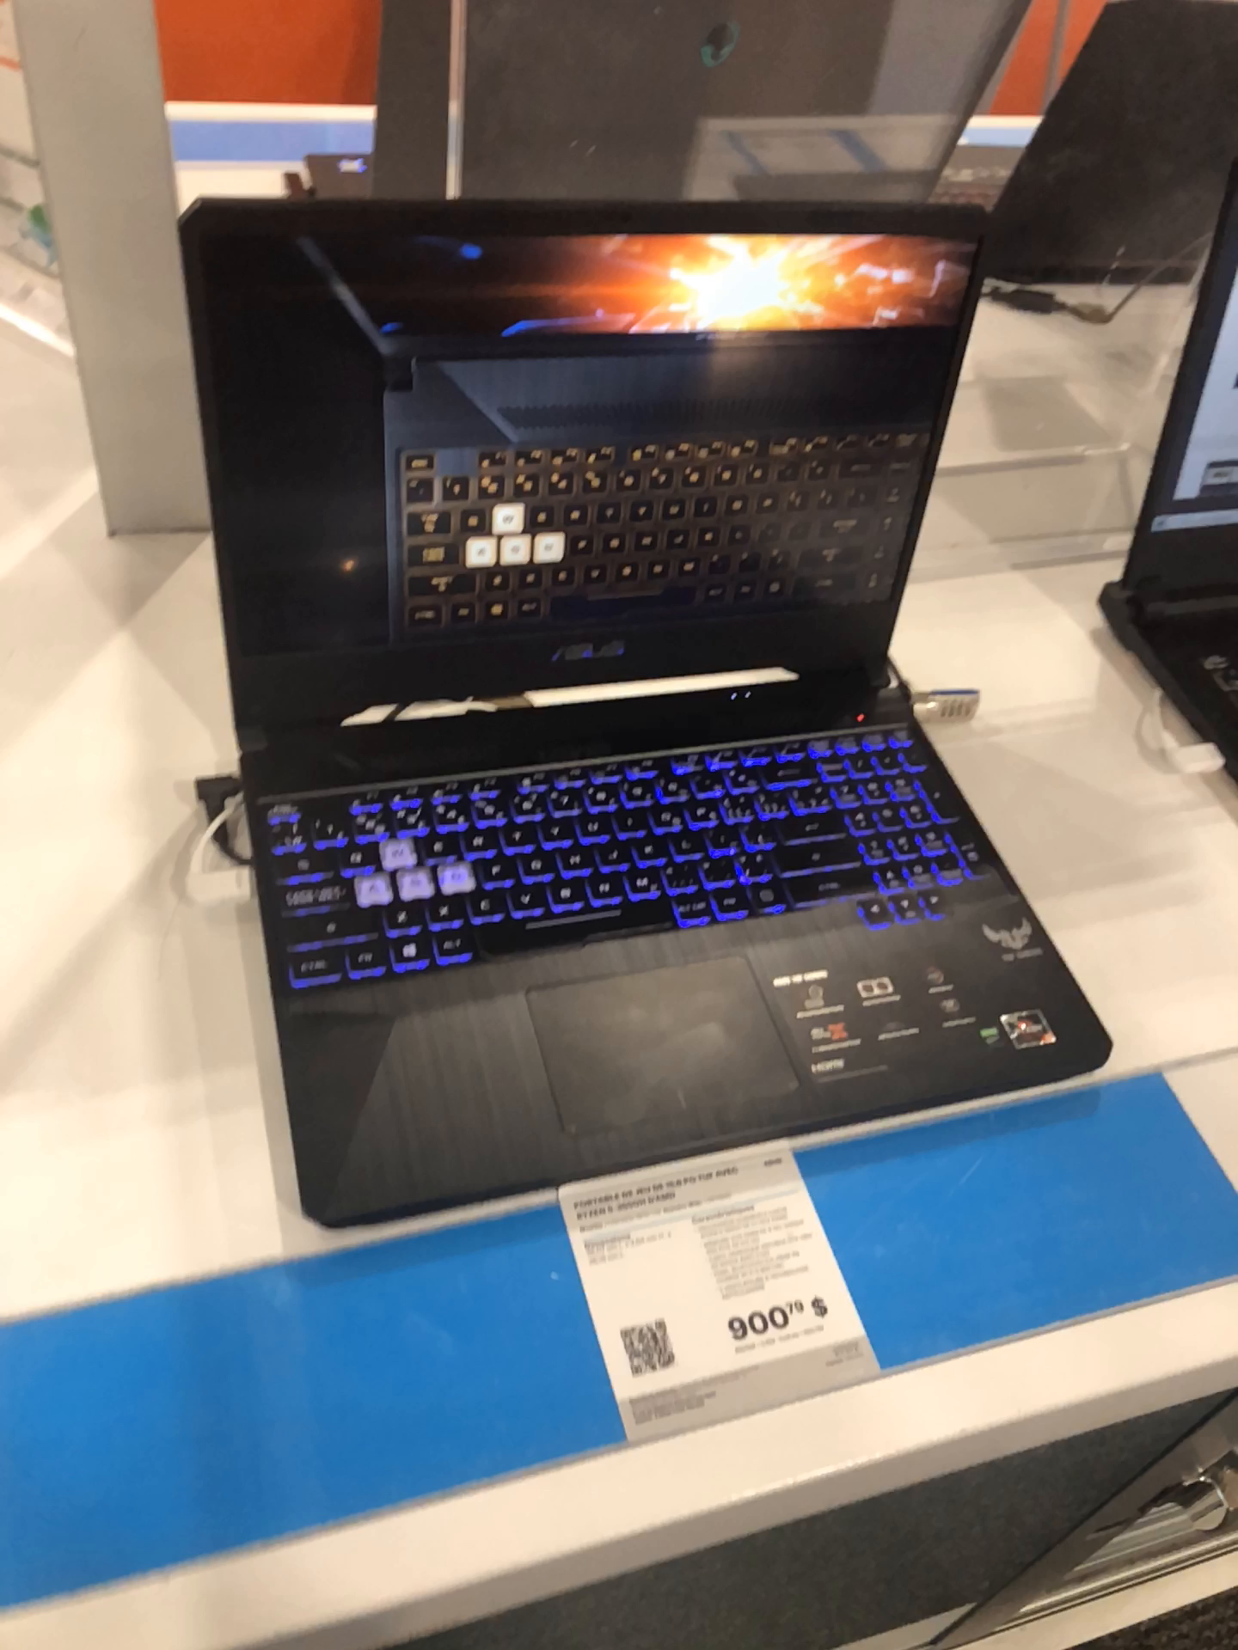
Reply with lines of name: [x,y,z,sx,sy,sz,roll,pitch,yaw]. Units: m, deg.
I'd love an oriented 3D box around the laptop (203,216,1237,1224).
laptop: [0.029,-0.067,0.569,0.350,0.235,0.302,-8,50,-16]
